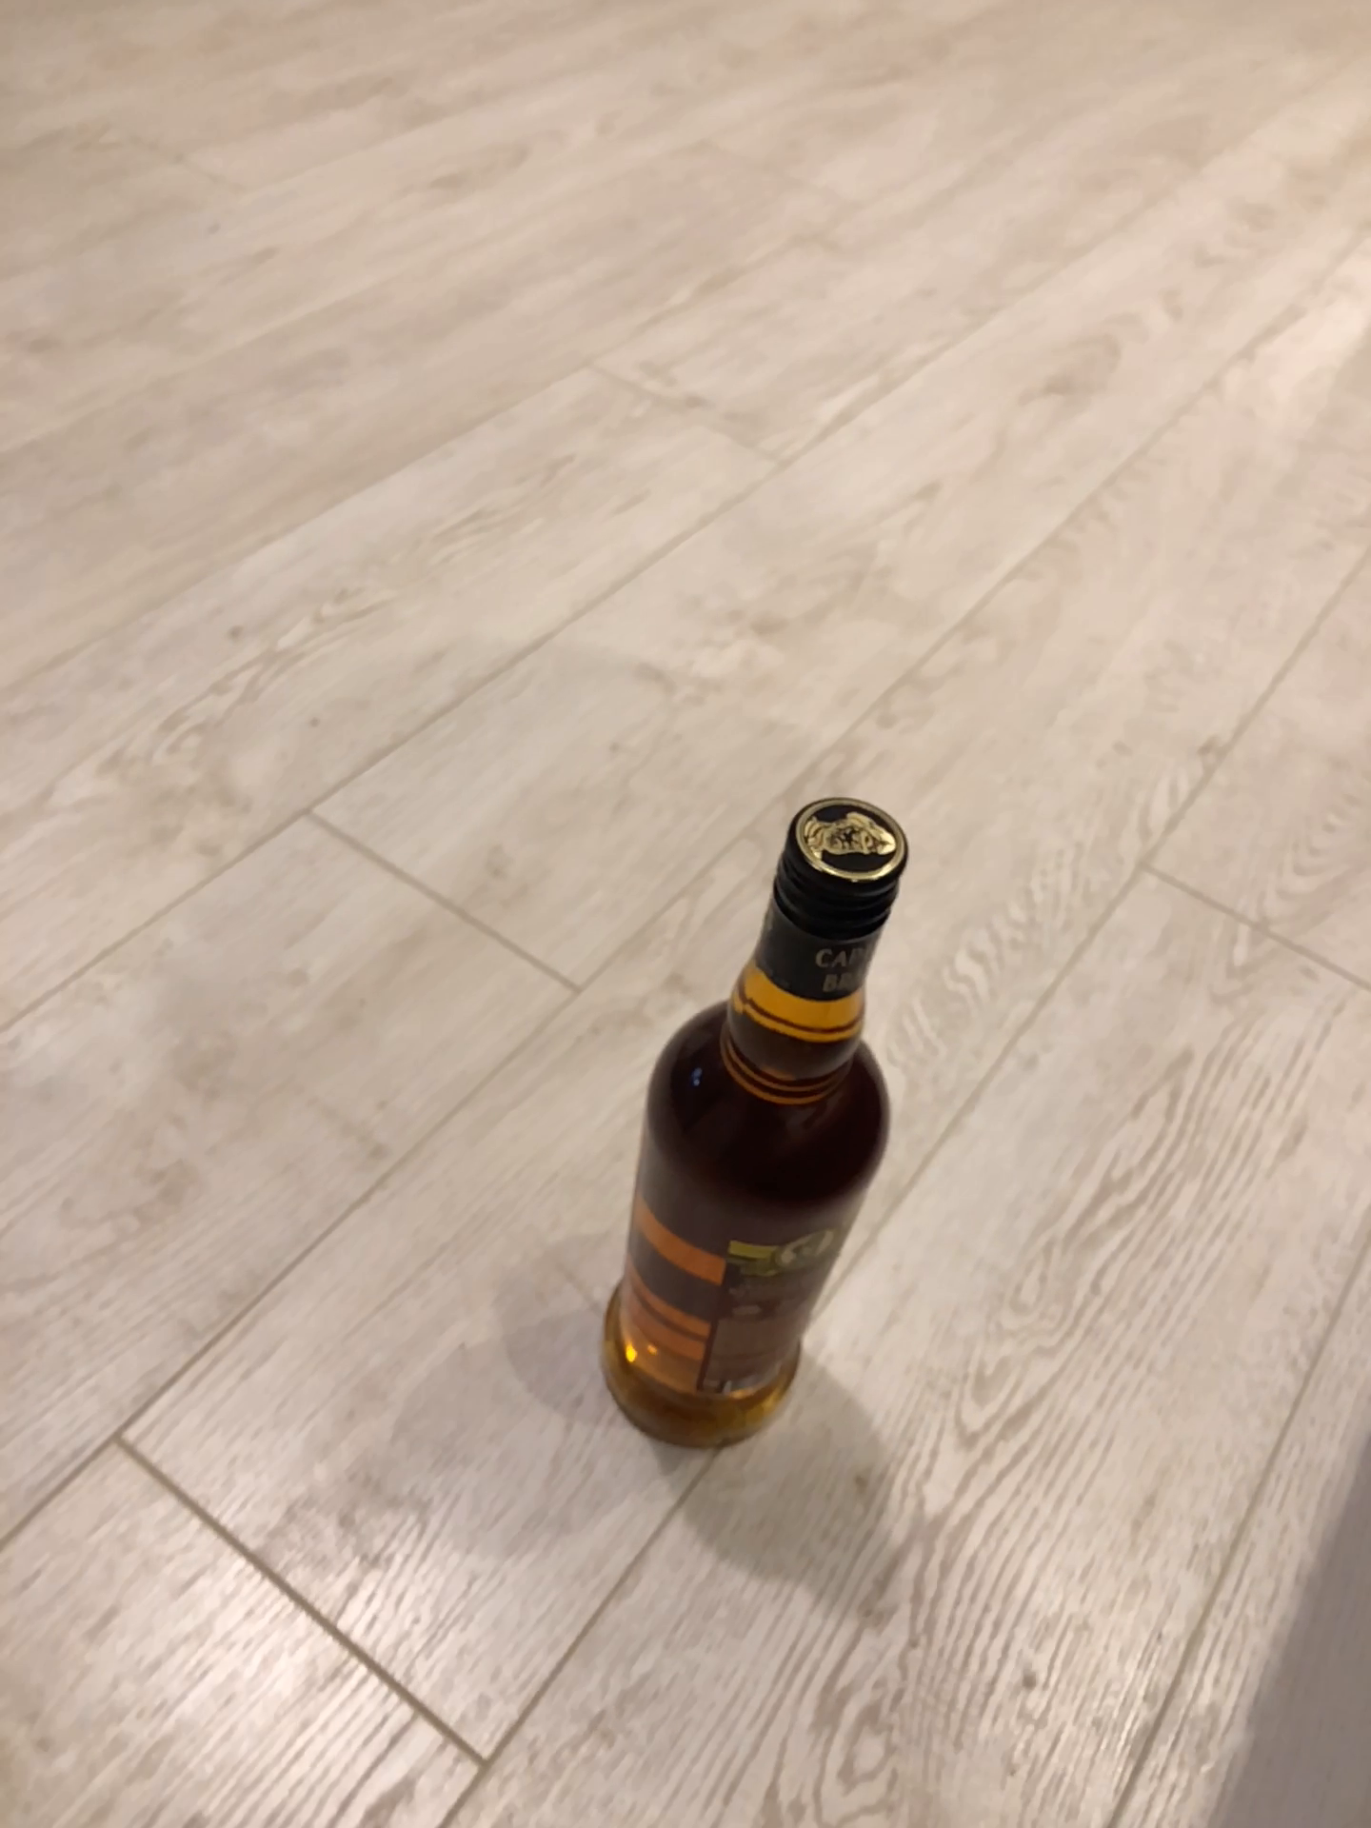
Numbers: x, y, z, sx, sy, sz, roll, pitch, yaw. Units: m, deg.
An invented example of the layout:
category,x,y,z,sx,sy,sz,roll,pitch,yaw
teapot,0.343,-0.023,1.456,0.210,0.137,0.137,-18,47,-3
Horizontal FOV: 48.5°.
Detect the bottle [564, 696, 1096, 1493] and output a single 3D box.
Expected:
category,x,y,z,sx,sy,sz,roll,pitch,yaw
bottle,0.024,0.068,0.442,0.080,0.257,0.080,5,48,-5
